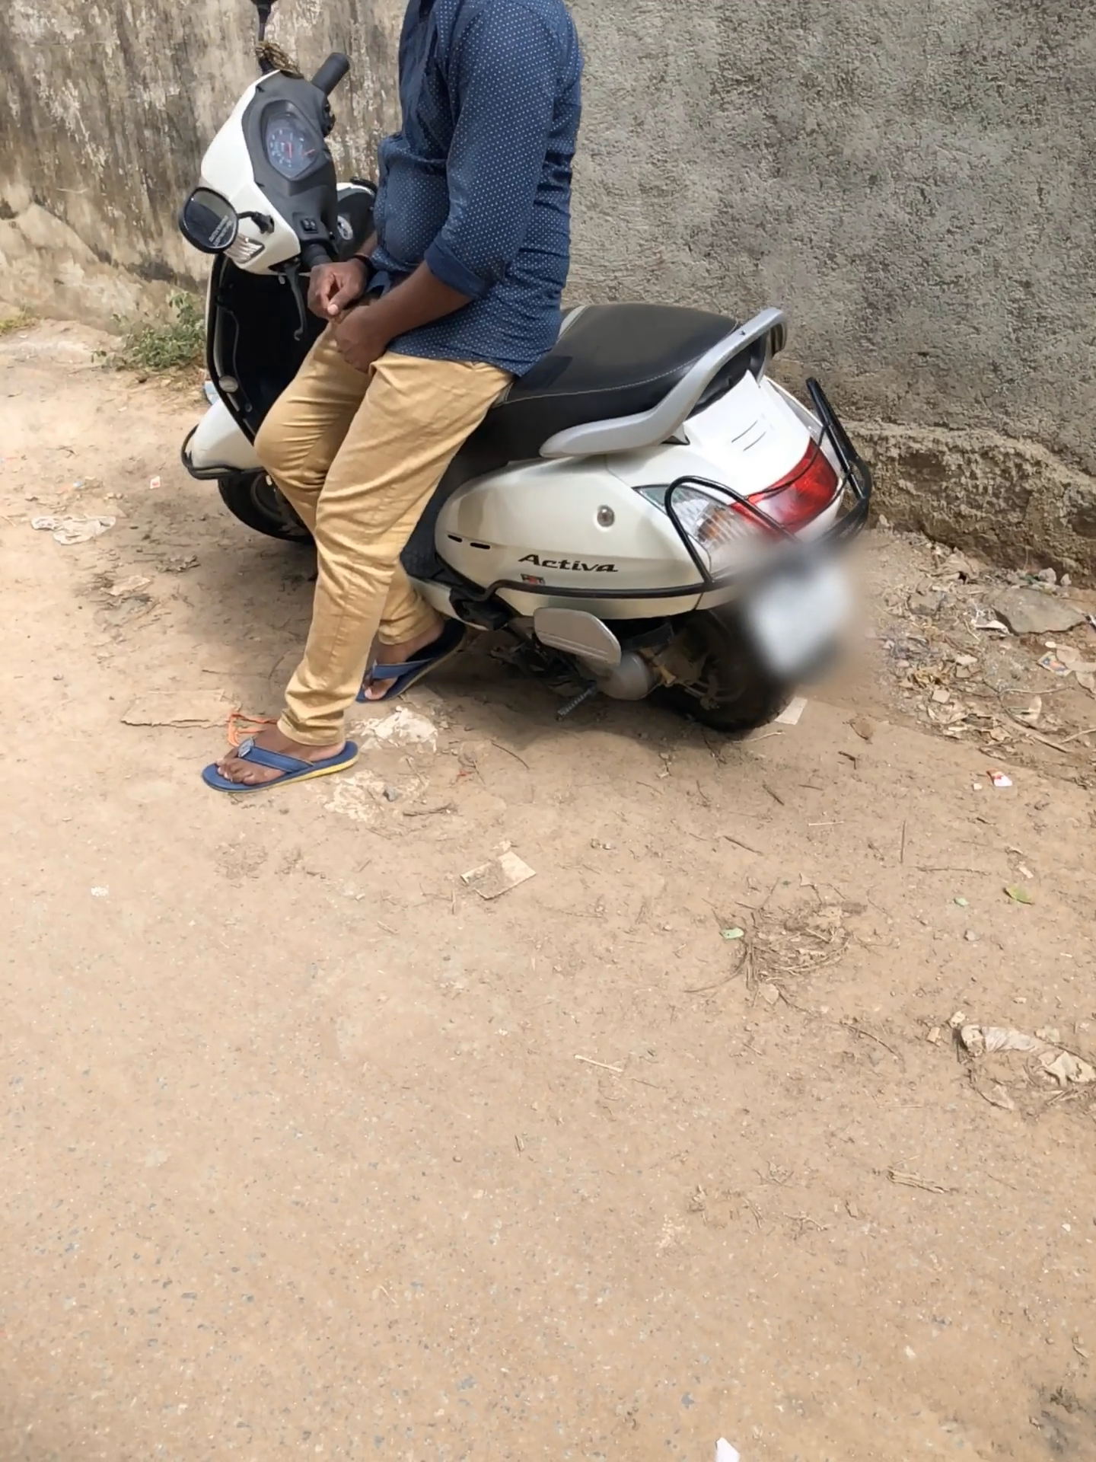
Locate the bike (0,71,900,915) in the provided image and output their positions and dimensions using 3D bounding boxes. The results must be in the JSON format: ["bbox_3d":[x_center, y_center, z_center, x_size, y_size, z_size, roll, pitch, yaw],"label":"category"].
[{"bbox_3d":[-0.339,-0.571,2.324,1.624,1.139,0.672,23,41,32],"label":"bike"}]
